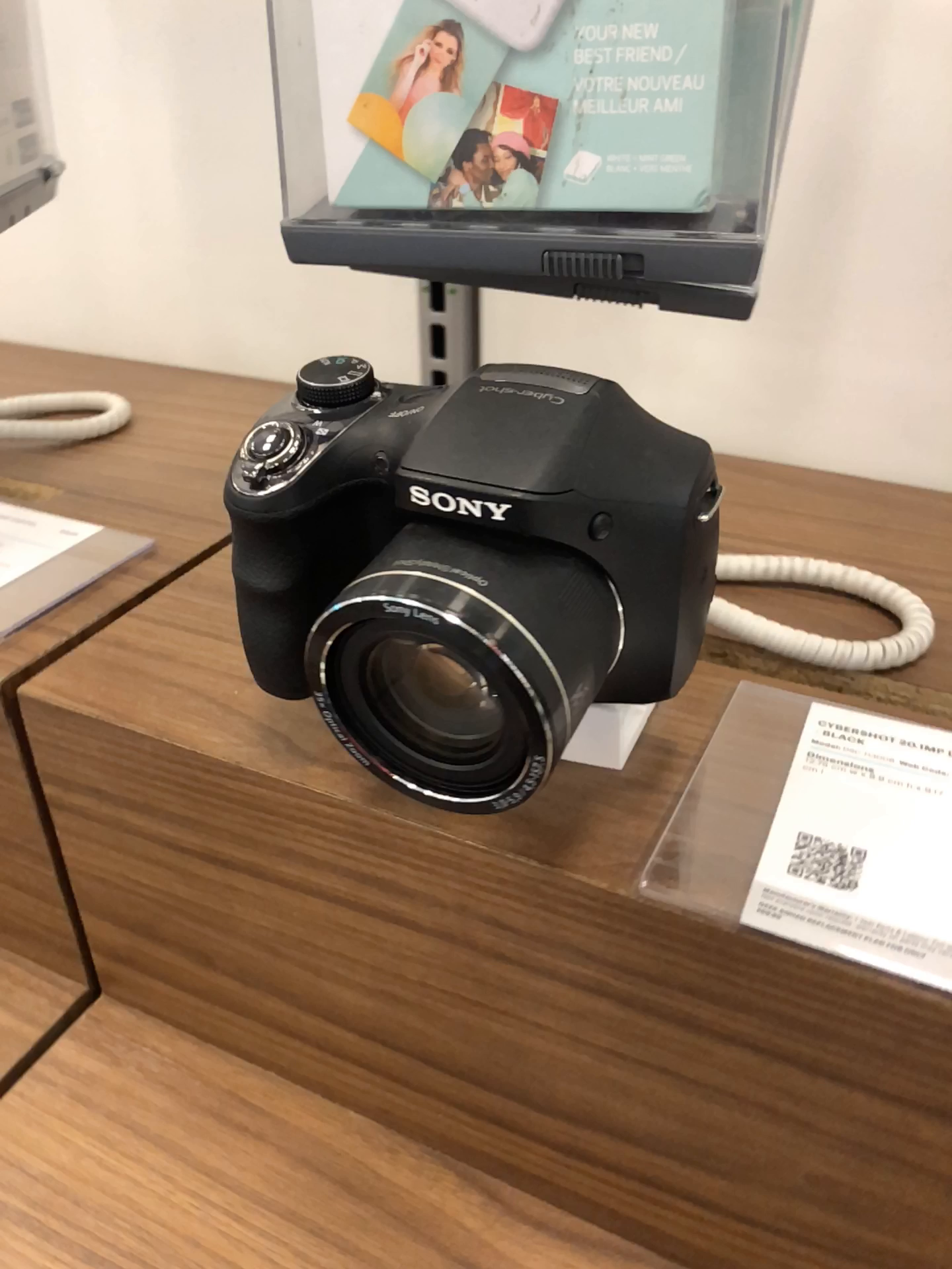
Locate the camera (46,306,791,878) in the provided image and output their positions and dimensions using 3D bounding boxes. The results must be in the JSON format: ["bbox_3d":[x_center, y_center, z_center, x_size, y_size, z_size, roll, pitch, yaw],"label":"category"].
[{"bbox_3d":[-0.007,-0.026,0.278,0.140,0.080,0.120,13,33,23],"label":"camera"}]
